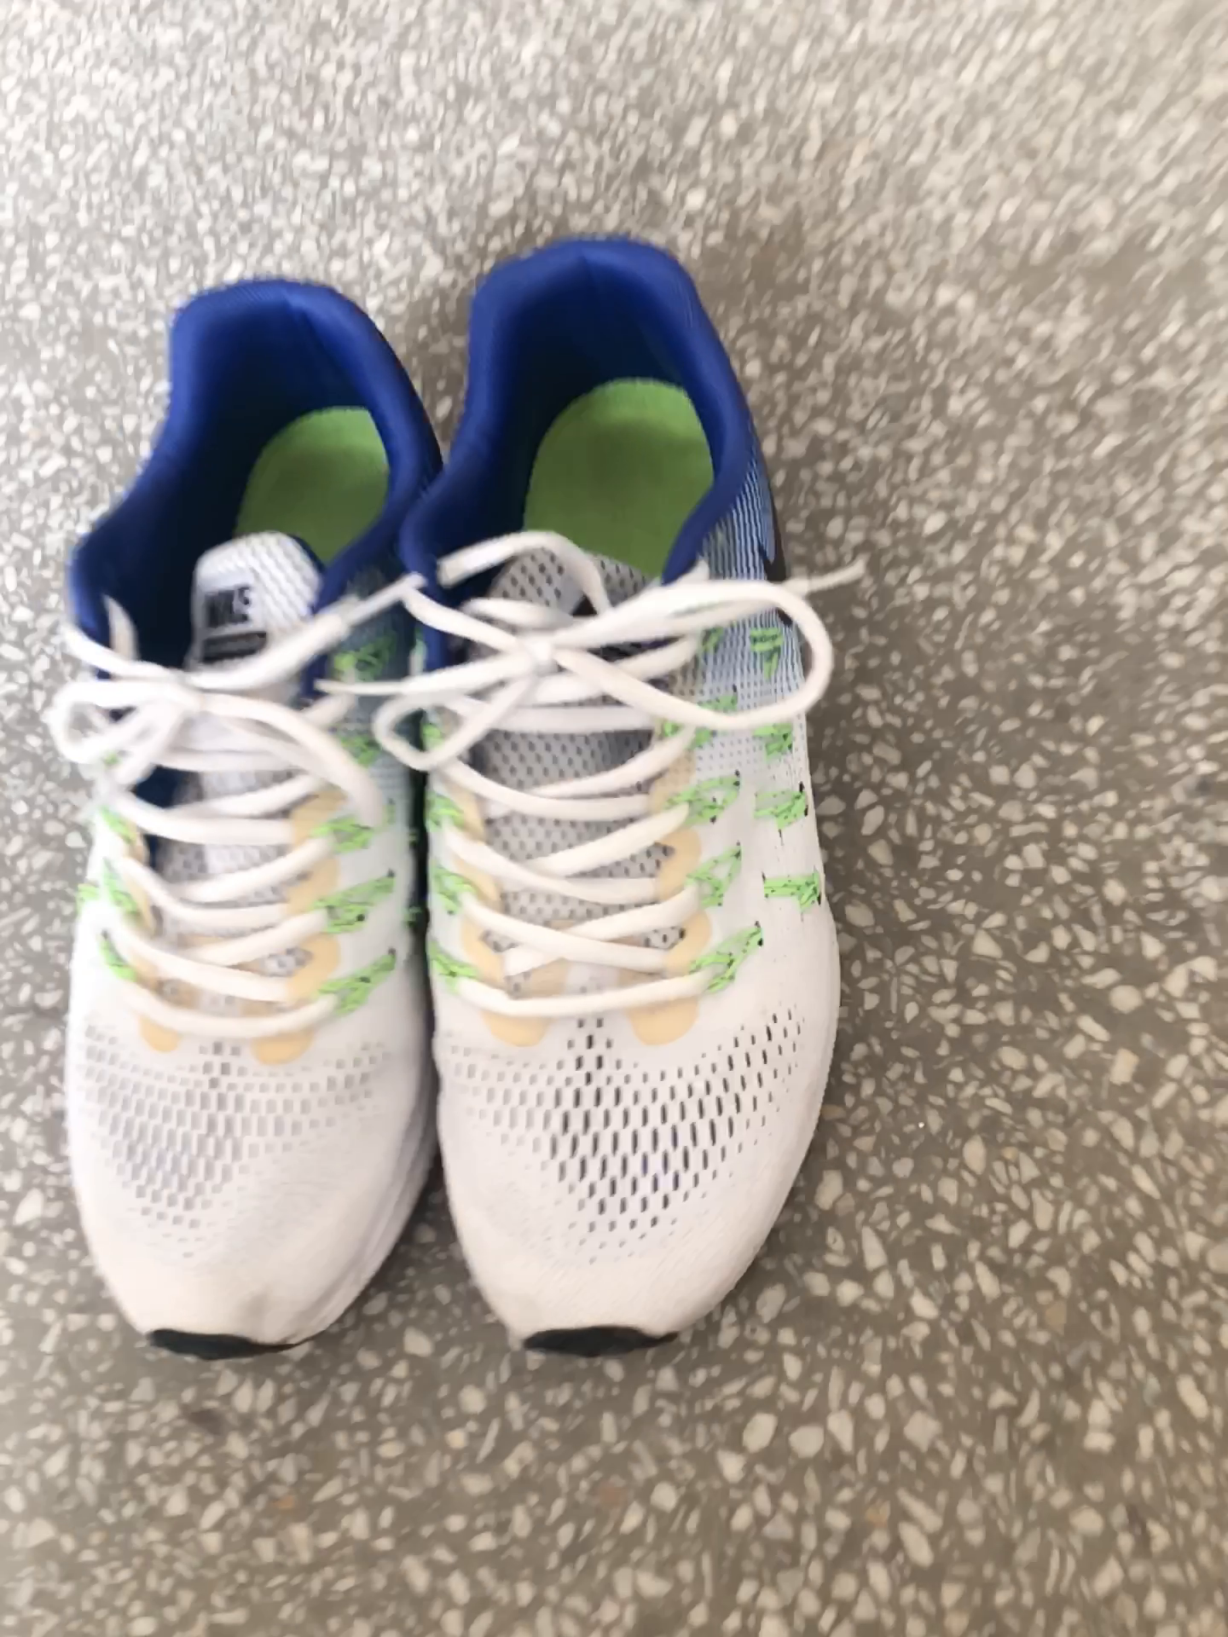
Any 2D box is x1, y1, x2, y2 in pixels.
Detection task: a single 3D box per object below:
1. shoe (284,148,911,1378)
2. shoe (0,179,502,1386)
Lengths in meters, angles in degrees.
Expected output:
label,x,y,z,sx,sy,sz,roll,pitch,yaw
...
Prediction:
label,x,y,z,sx,sy,sz,roll,pitch,yaw
shoe,0.005,-0.012,0.341,0.111,0.114,0.275,-2,69,7
shoe,-0.105,-0.009,0.355,0.113,0.114,0.282,-1,69,8
